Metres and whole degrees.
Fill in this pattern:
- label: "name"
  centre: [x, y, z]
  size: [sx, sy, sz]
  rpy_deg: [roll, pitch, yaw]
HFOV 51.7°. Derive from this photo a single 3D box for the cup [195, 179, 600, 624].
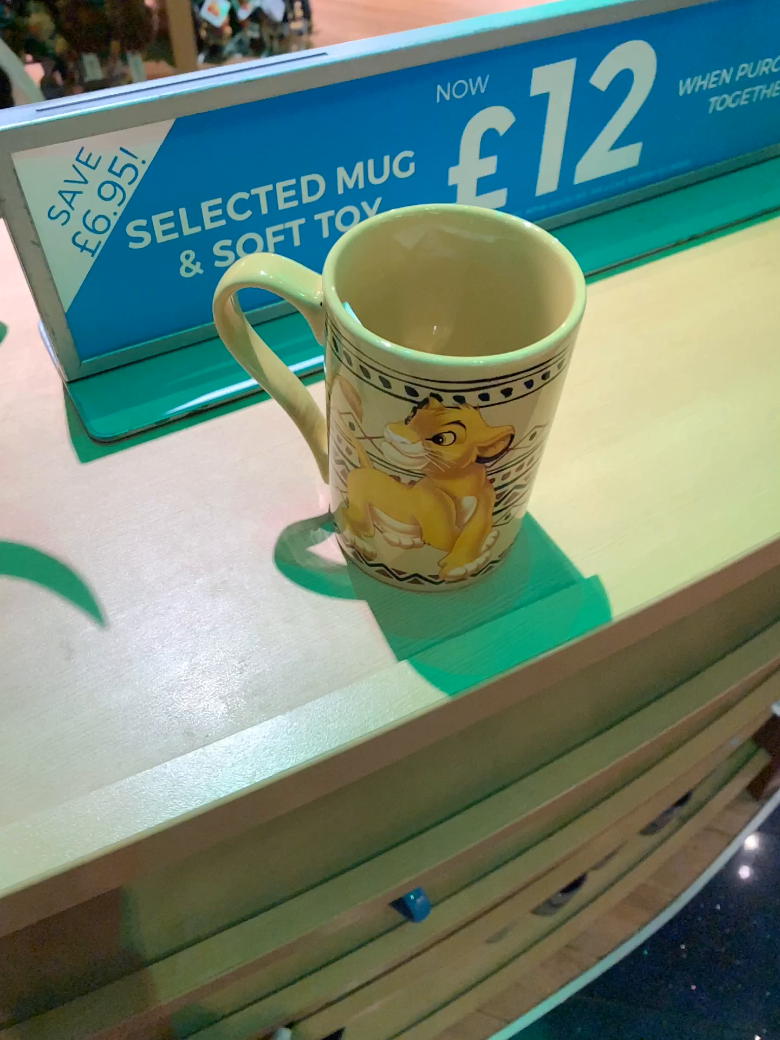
- label: "cup"
  centre: [0.006, -0.044, 0.312]
  size: [0.119, 0.121, 0.101]
  rpy_deg: [8, 48, 4]
